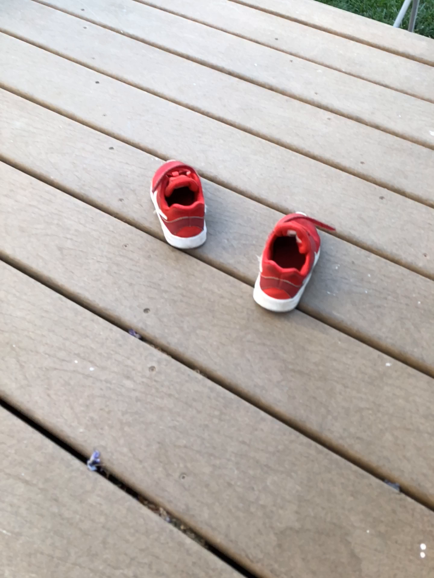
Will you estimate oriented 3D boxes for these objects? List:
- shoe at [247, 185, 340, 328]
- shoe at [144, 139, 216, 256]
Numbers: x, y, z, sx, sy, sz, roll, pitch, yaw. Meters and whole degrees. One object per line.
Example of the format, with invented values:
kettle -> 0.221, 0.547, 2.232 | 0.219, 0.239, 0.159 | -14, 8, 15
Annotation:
shoe -> 0.098, -0.045, 0.596 | 0.069, 0.069, 0.165 | 17, 53, 8
shoe -> -0.054, -0.129, 0.652 | 0.073, 0.069, 0.153 | -7, 53, -10
